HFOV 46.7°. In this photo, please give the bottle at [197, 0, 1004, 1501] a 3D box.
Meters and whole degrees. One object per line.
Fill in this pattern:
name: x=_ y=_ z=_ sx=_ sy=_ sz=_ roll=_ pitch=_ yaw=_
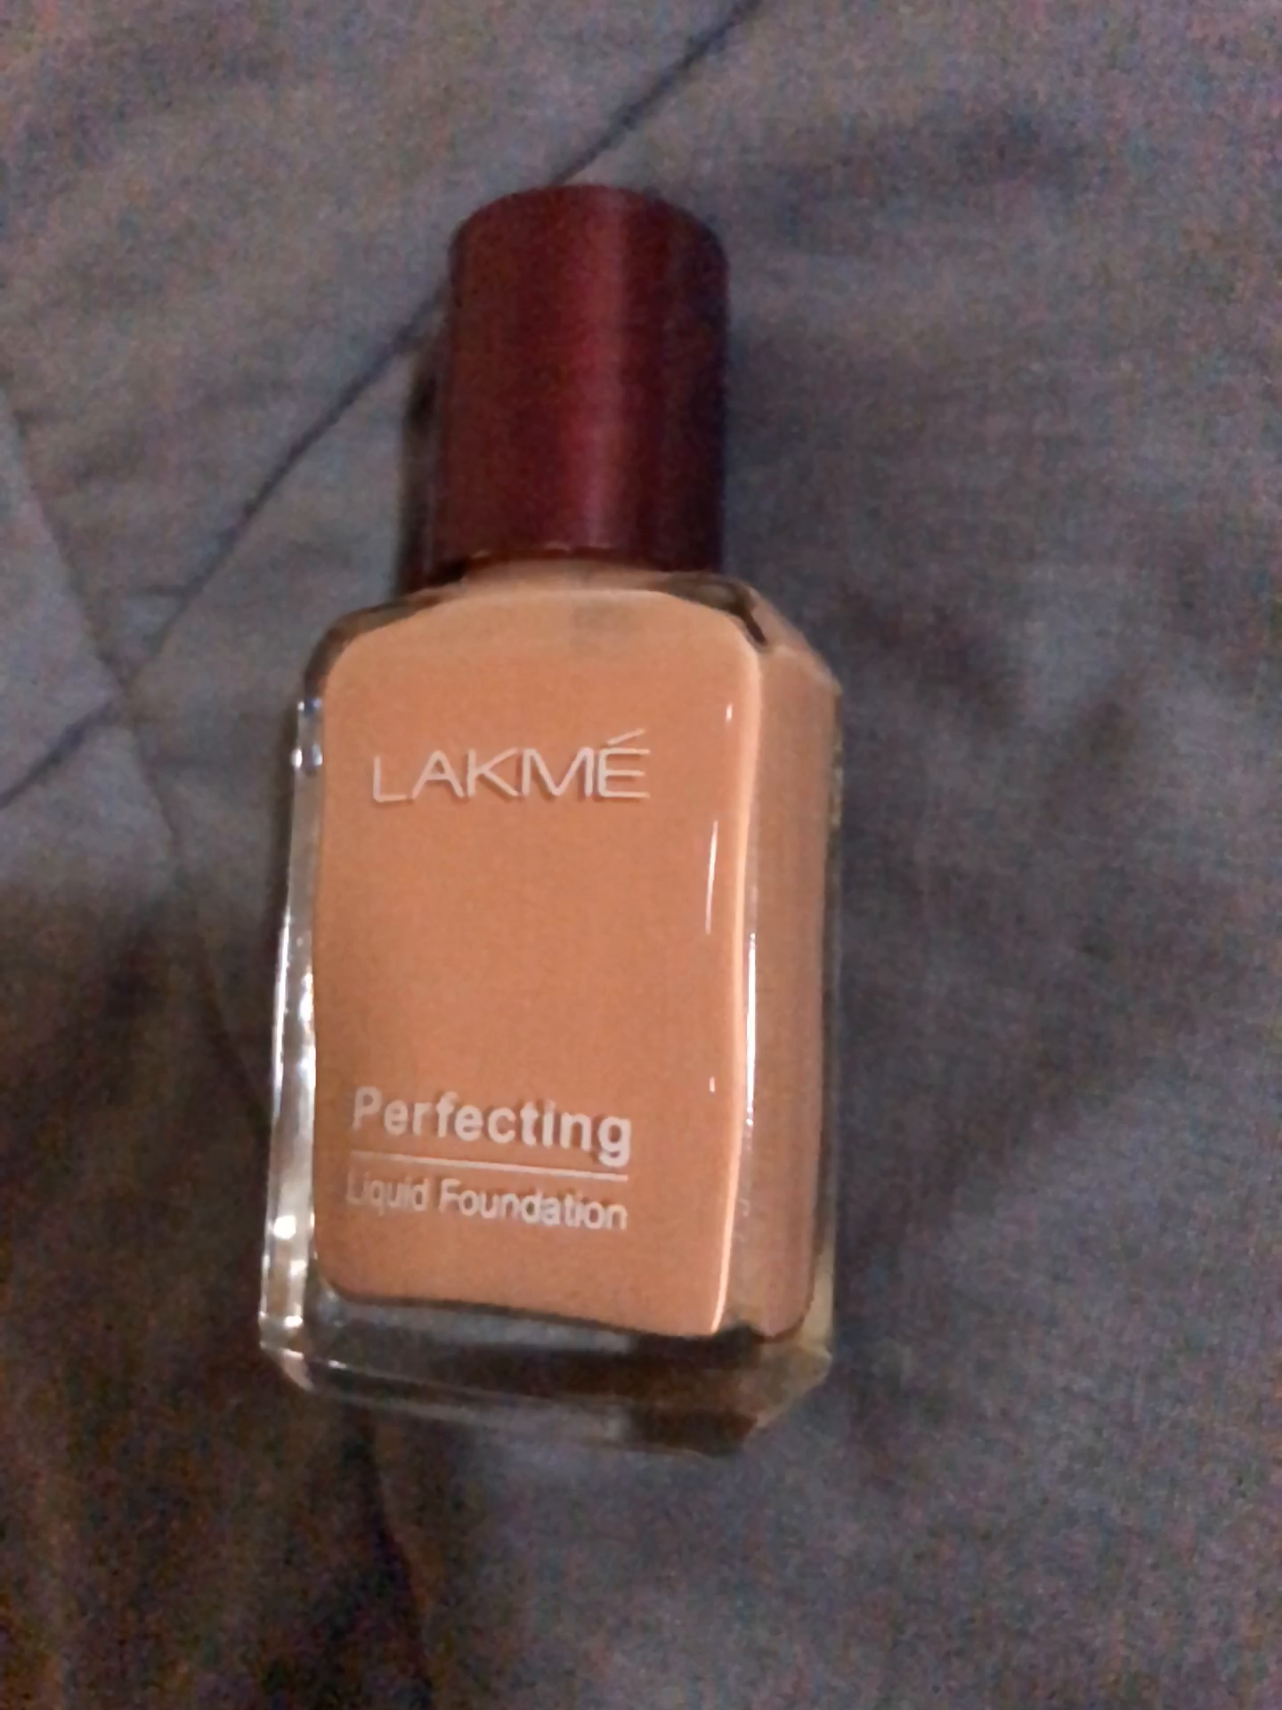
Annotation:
bottle: x=0.000 y=-0.013 z=0.120 sx=0.050 sy=0.030 sz=0.110 roll=0 pitch=81 yaw=22
